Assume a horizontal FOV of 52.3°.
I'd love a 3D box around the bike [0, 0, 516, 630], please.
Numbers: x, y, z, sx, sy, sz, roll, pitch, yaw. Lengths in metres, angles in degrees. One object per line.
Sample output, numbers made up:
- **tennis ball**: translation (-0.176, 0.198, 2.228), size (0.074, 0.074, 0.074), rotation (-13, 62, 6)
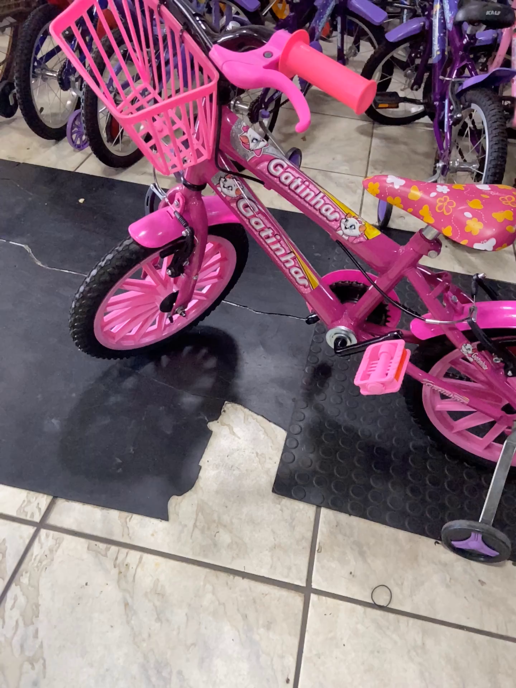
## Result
- **bike**: translation (0.134, -0.074, 0.727), size (0.938, 0.788, 0.468), rotation (11, 46, 8)
